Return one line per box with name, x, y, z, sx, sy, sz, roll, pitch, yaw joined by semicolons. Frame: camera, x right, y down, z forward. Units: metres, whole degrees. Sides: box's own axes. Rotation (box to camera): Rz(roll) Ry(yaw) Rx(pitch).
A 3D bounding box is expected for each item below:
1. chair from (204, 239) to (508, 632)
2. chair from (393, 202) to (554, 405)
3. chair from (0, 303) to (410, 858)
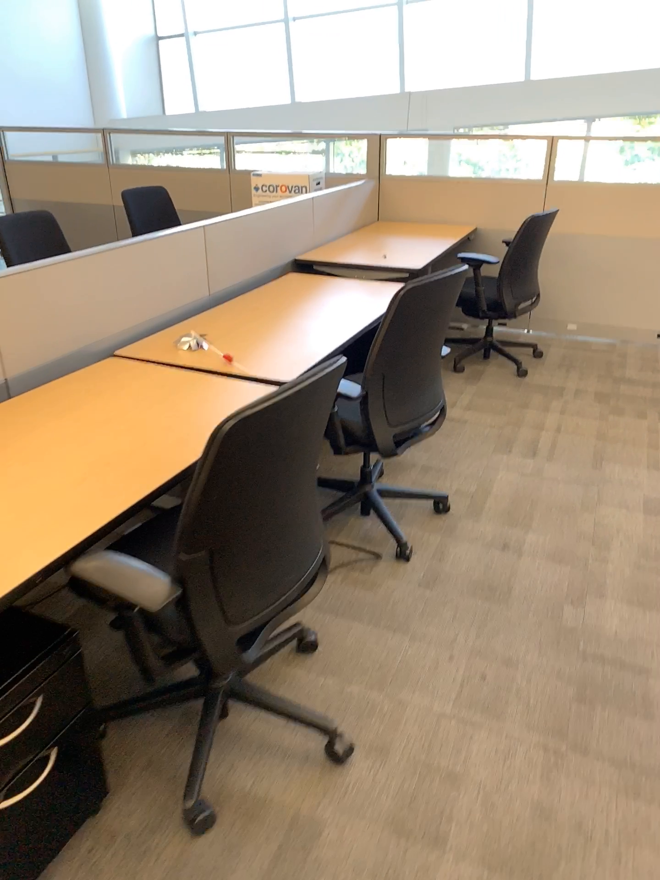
chair;0.088;-0.085;2.623;0.751;1.183;0.763;-22;33;-38
chair;1.027;-1.037;4.962;0.751;1.233;0.763;-22;33;-38
chair;-0.307;0.320;1.961;0.762;1.183;0.752;16;30;29
